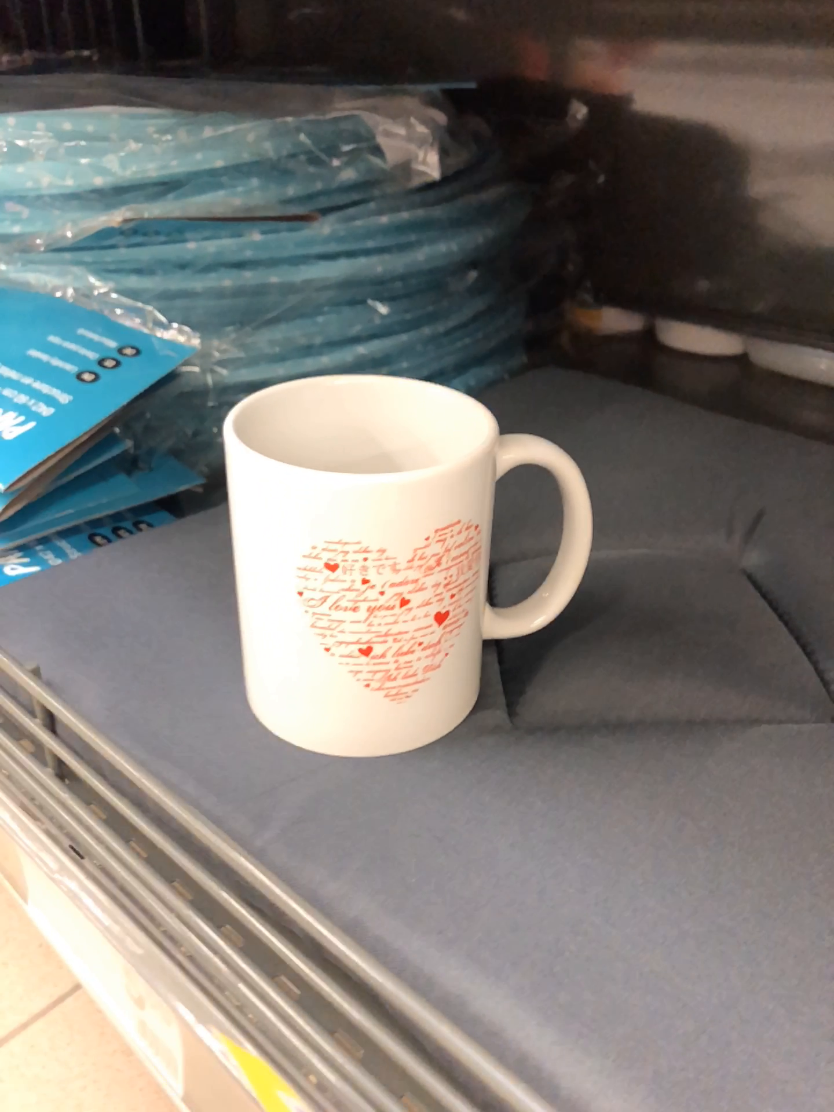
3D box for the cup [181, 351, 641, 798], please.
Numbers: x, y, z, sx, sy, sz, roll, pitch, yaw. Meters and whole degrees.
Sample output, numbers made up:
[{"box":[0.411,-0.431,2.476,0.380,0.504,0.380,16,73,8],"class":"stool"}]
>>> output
[{"box":[-0.007,-0.001,0.306,0.120,0.099,0.090,-8,30,-15],"class":"cup"}]
